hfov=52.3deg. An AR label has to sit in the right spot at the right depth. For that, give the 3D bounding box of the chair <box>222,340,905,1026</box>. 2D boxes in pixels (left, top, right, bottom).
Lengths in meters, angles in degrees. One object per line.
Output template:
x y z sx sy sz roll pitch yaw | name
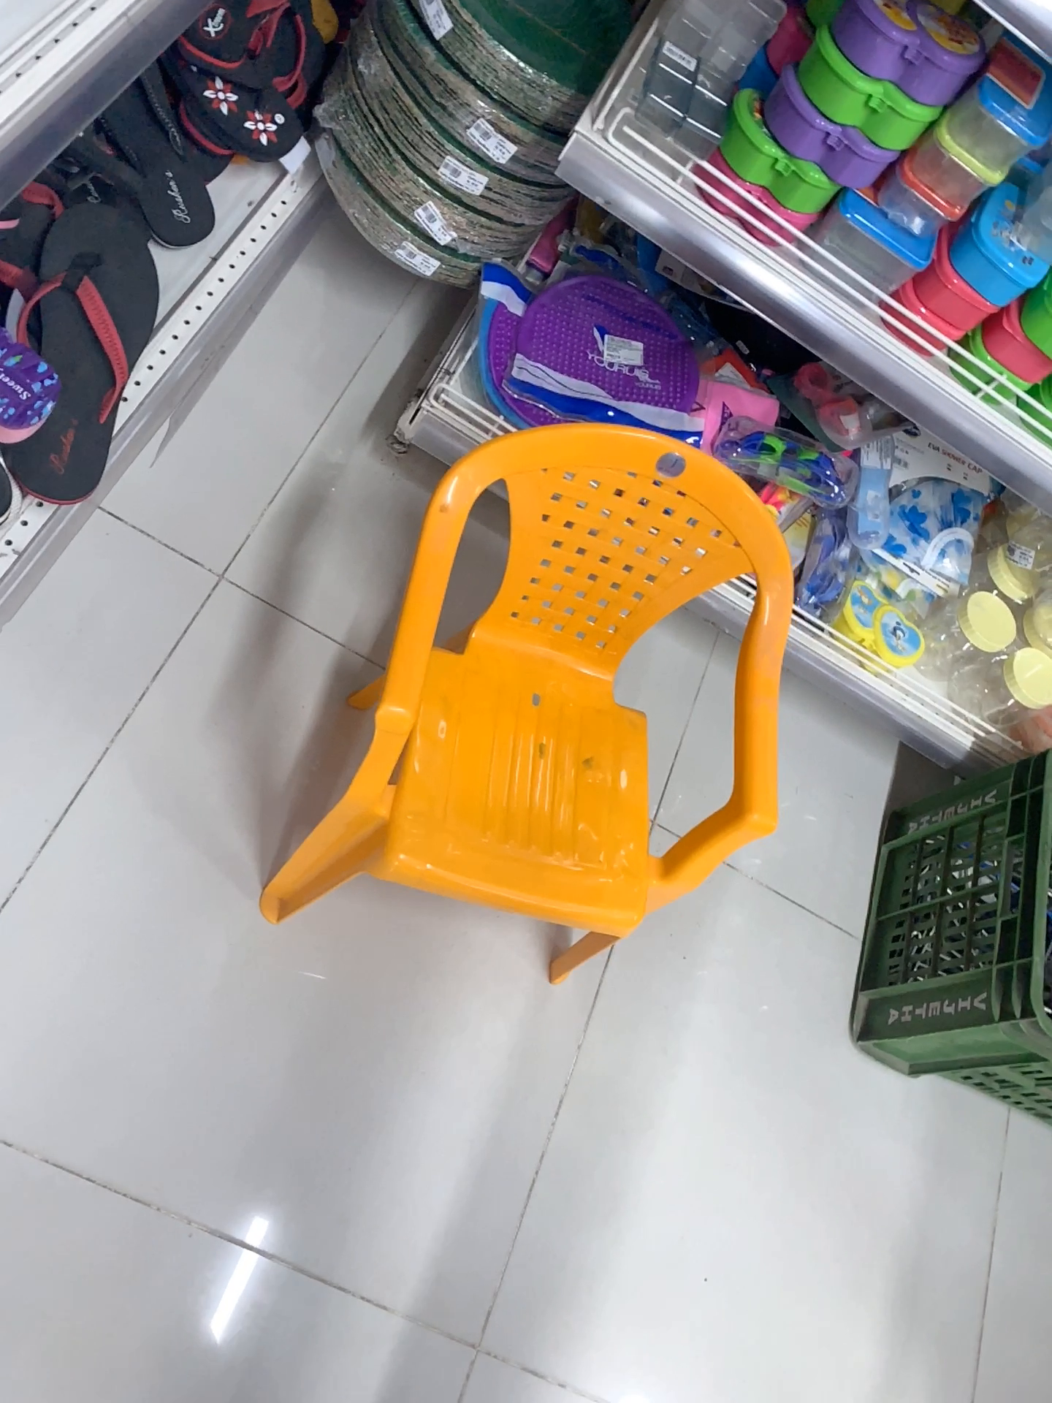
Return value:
0.013 0.040 0.945 0.401 0.459 0.360 18 63 -17 | chair
